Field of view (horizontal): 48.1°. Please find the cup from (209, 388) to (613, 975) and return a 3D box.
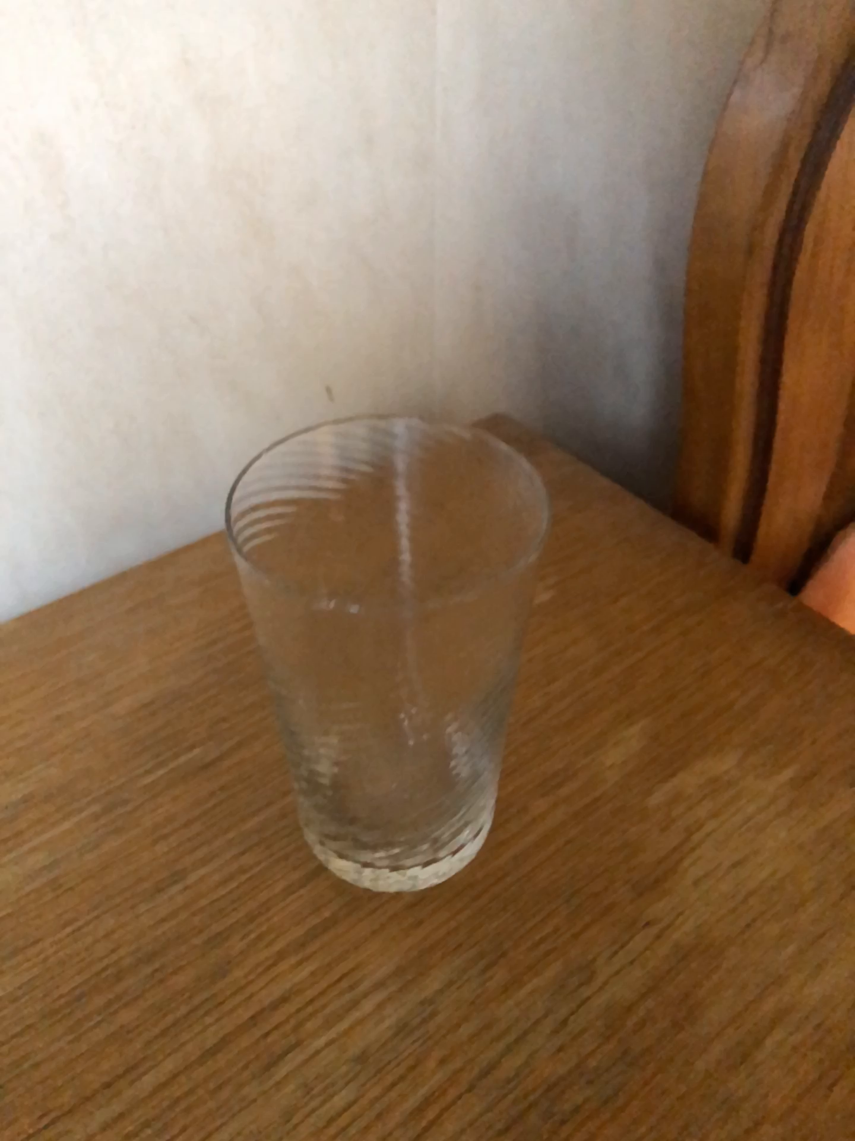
[{"bbox_3d":[-0.008,0.029,0.254,0.070,0.119,0.080,-12,40,-15],"label":"cup"}]
